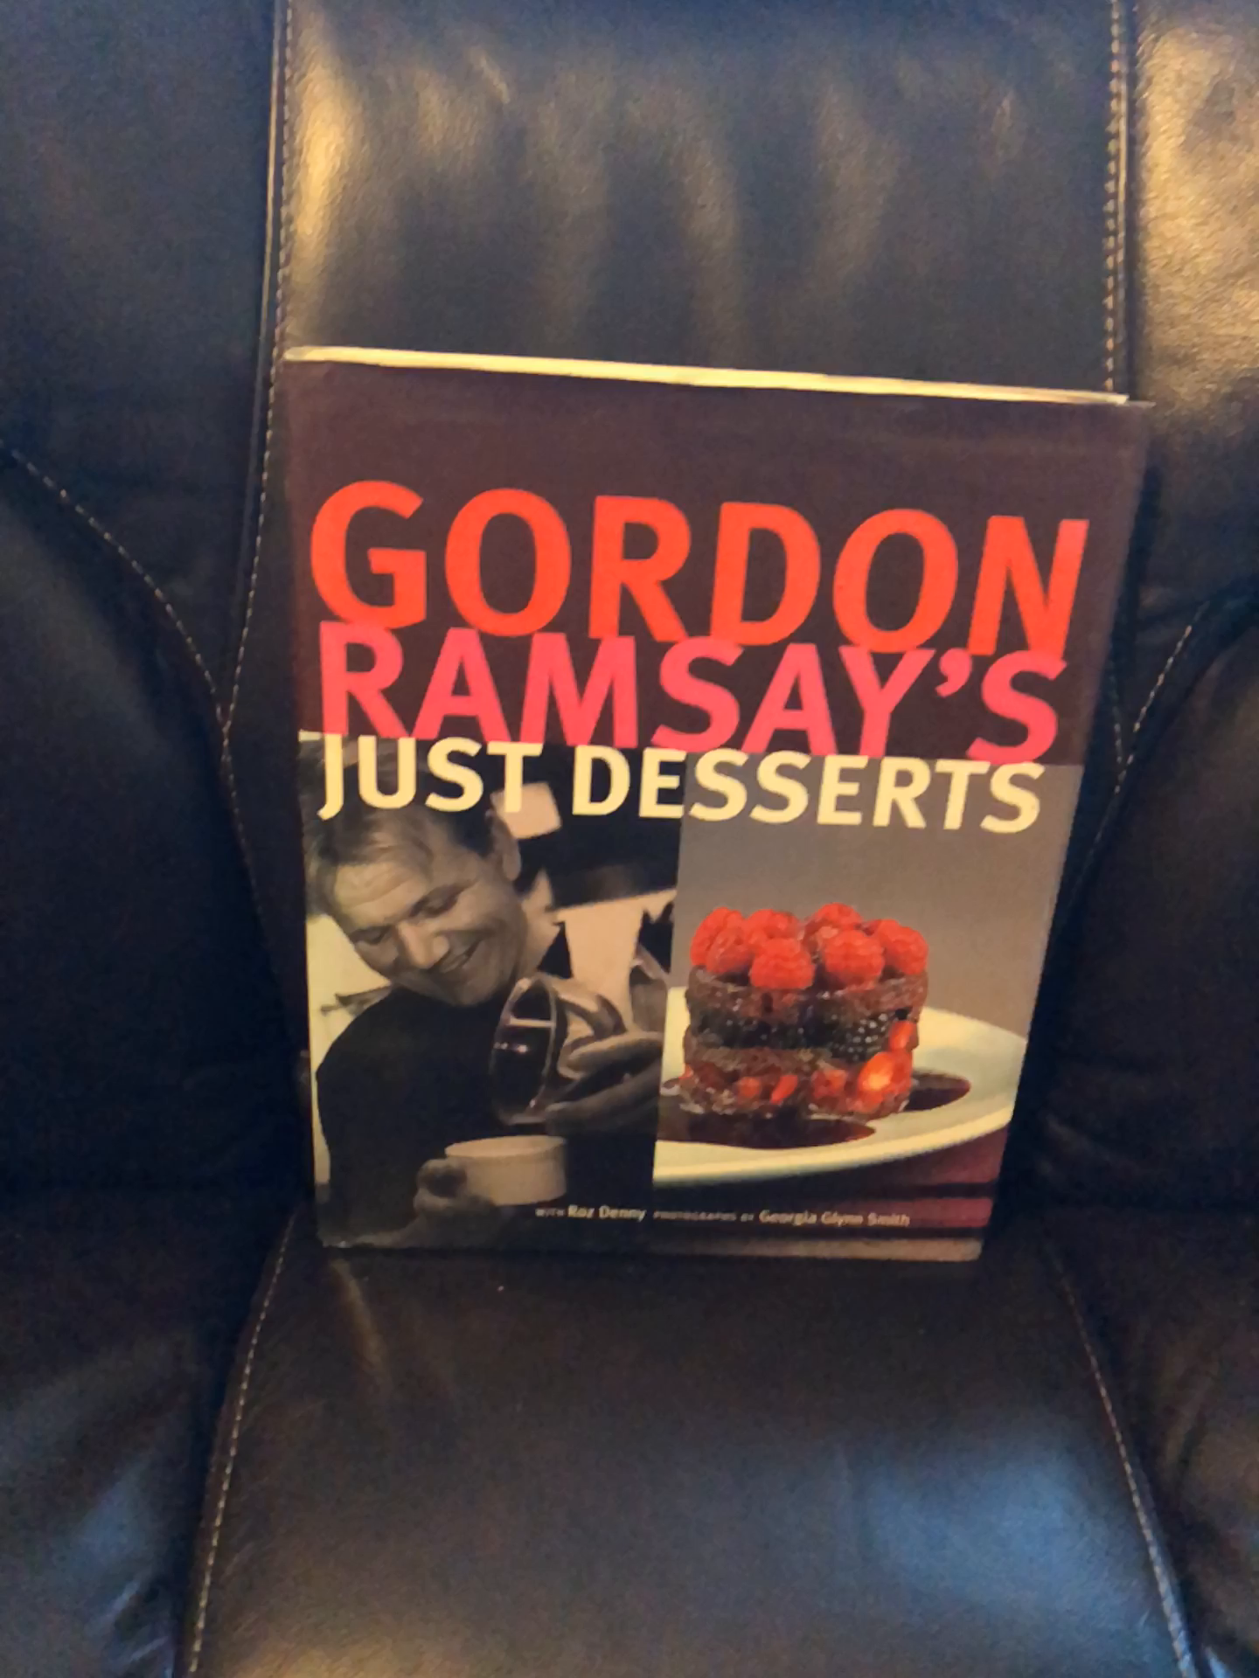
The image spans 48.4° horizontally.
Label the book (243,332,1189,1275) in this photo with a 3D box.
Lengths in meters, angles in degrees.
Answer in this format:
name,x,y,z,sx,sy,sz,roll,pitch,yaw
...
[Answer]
name,x,y,z,sx,sy,sz,roll,pitch,yaw
book,0.015,0.010,0.422,0.230,0.293,0.030,2,28,-3
